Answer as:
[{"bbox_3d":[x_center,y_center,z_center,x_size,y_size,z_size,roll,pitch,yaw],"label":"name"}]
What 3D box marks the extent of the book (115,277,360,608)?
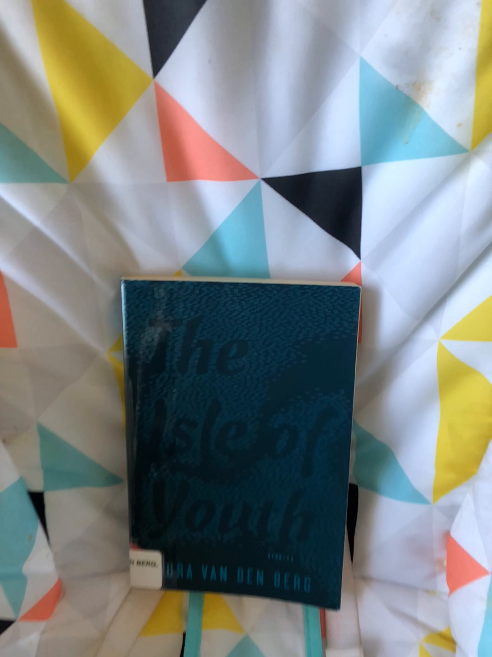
[{"bbox_3d":[-0.005,0.064,0.307,0.124,0.032,0.180,2,104,7],"label":"book"}]
